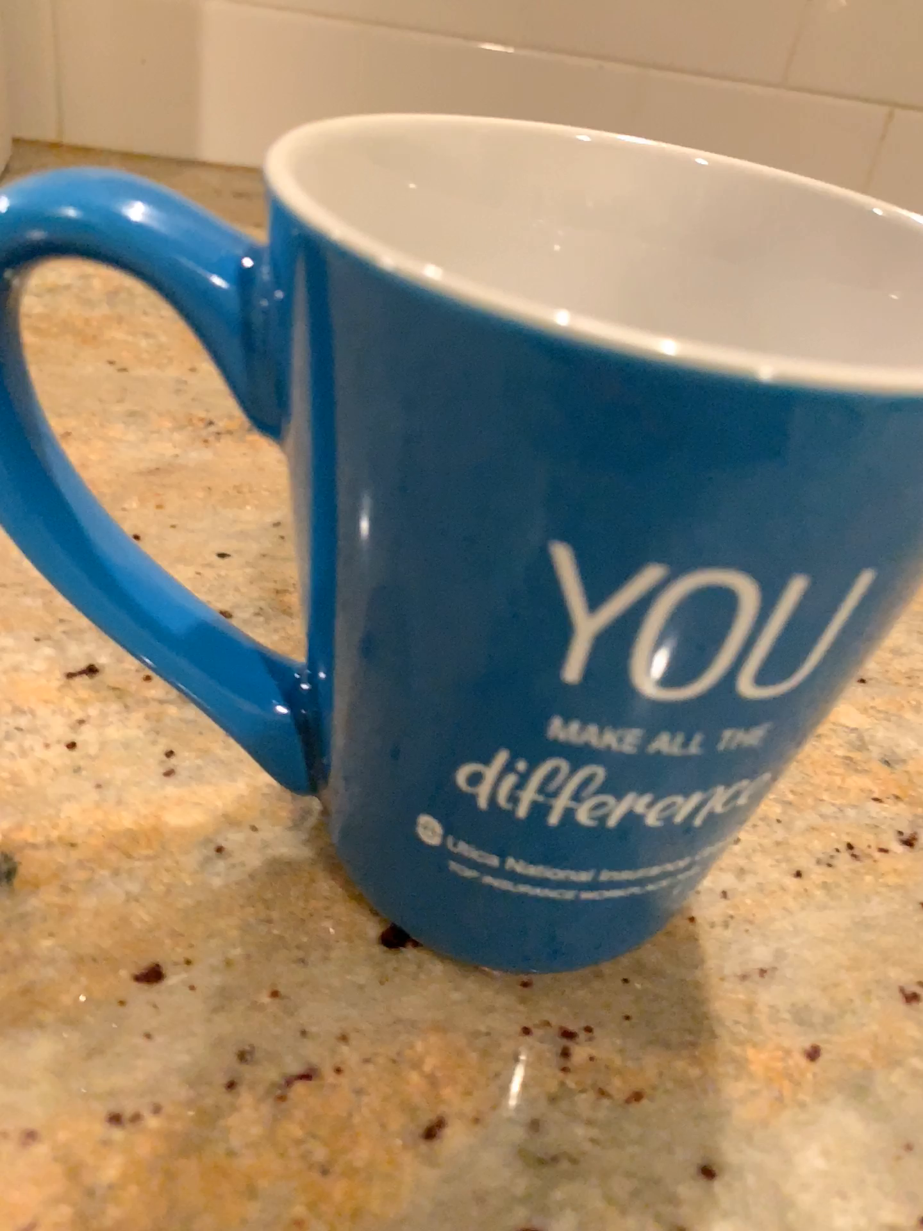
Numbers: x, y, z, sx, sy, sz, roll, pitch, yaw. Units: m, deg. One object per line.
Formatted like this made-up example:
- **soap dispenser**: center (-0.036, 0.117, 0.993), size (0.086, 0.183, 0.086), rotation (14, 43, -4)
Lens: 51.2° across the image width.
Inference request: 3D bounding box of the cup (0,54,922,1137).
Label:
- **cup**: center (-0.001, -0.010, 0.139), size (0.138, 0.098, 0.099), rotation (-2, 38, -14)
